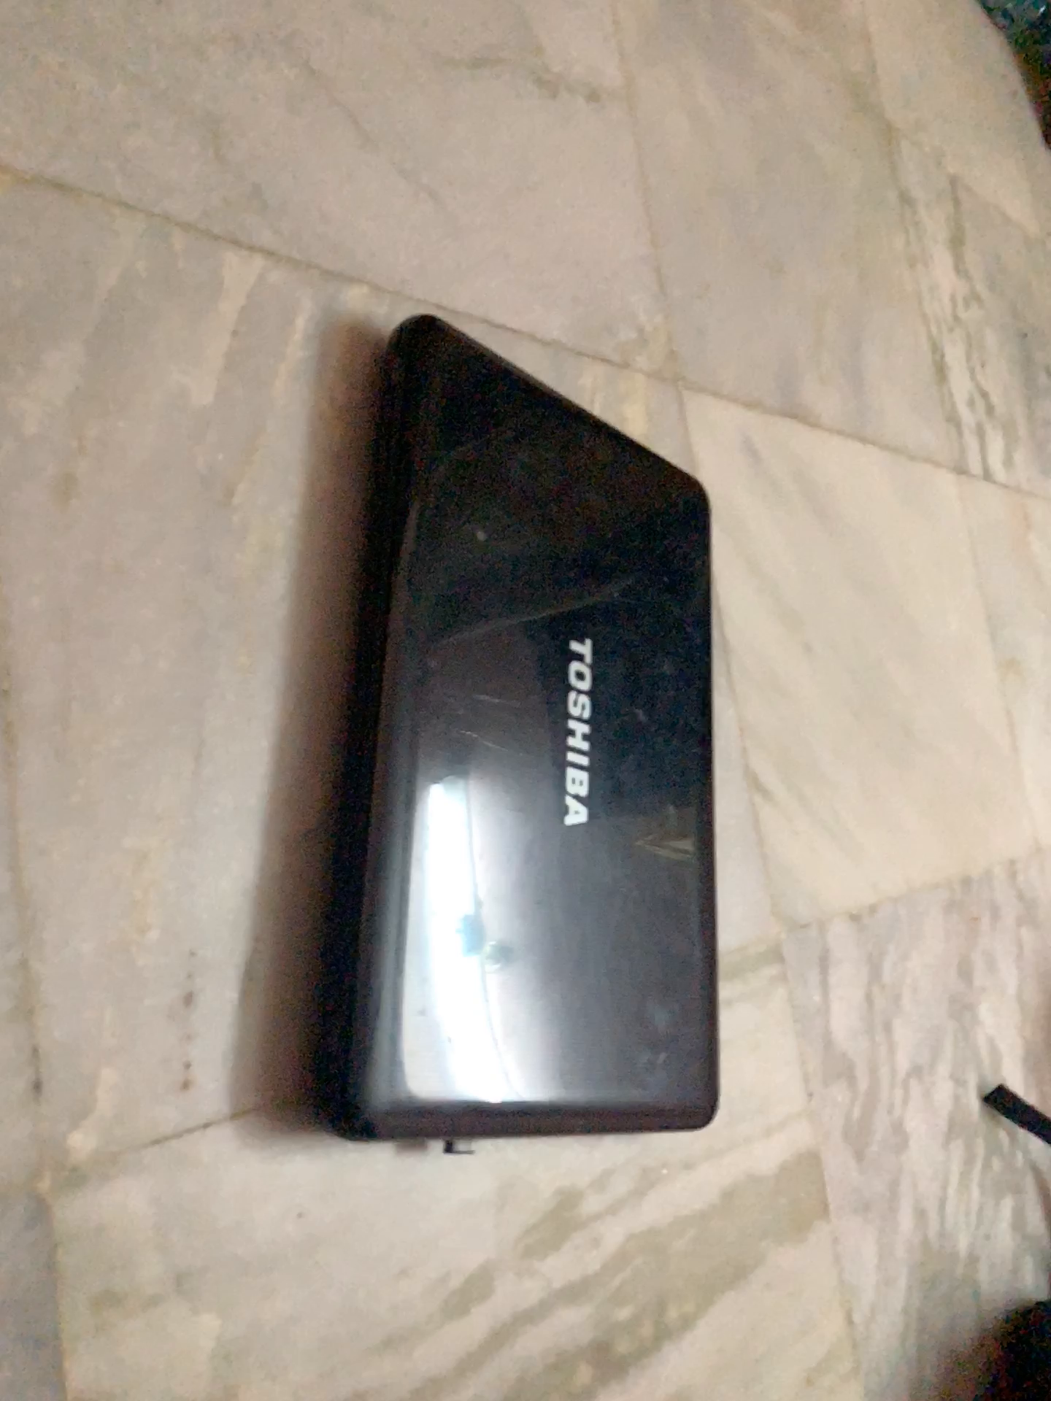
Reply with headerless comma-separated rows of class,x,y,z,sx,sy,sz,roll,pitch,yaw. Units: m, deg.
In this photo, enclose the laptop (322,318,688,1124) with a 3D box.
laptop,0.012,0.016,0.527,0.223,0.003,0.355,19,67,-42
